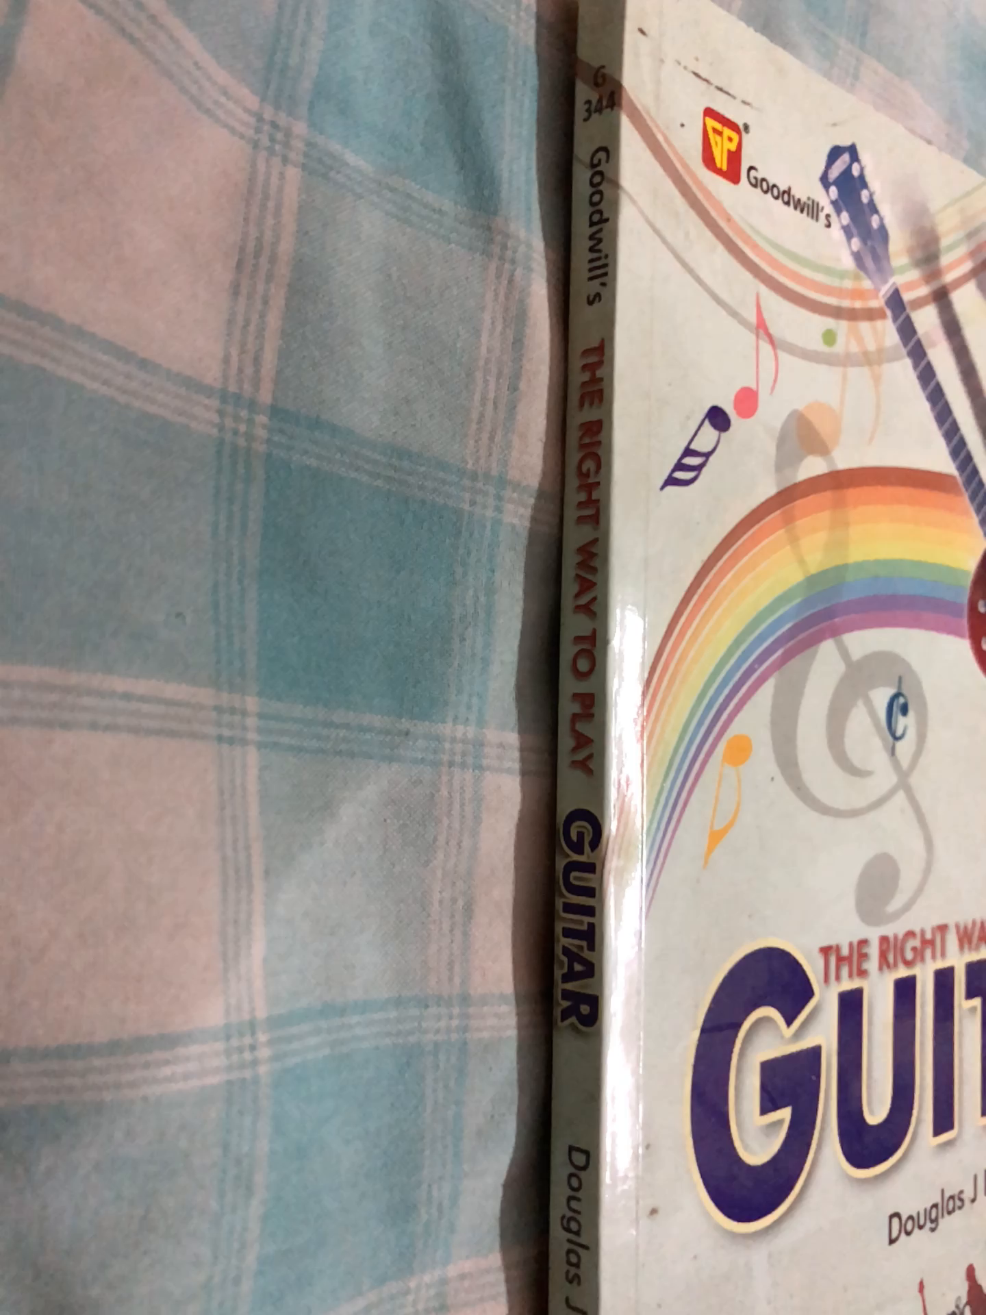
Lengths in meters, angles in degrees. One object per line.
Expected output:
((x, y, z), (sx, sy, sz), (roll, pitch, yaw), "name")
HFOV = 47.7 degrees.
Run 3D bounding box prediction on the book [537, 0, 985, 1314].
((0.088, 0.024, 0.205), (0.181, 0.030, 0.240), (5, 84, -39), "book")
